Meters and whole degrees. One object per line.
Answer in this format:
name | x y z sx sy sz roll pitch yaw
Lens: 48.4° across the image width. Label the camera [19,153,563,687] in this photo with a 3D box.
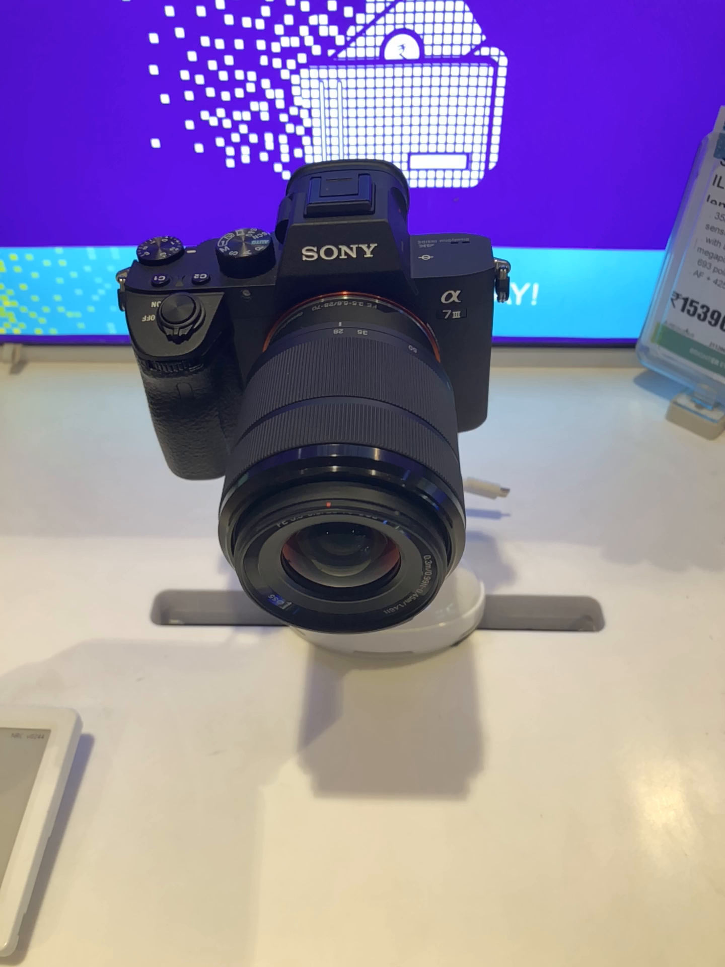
camera | -0.021 -0.025 0.262 0.120 0.109 0.128 -4 43 -5
